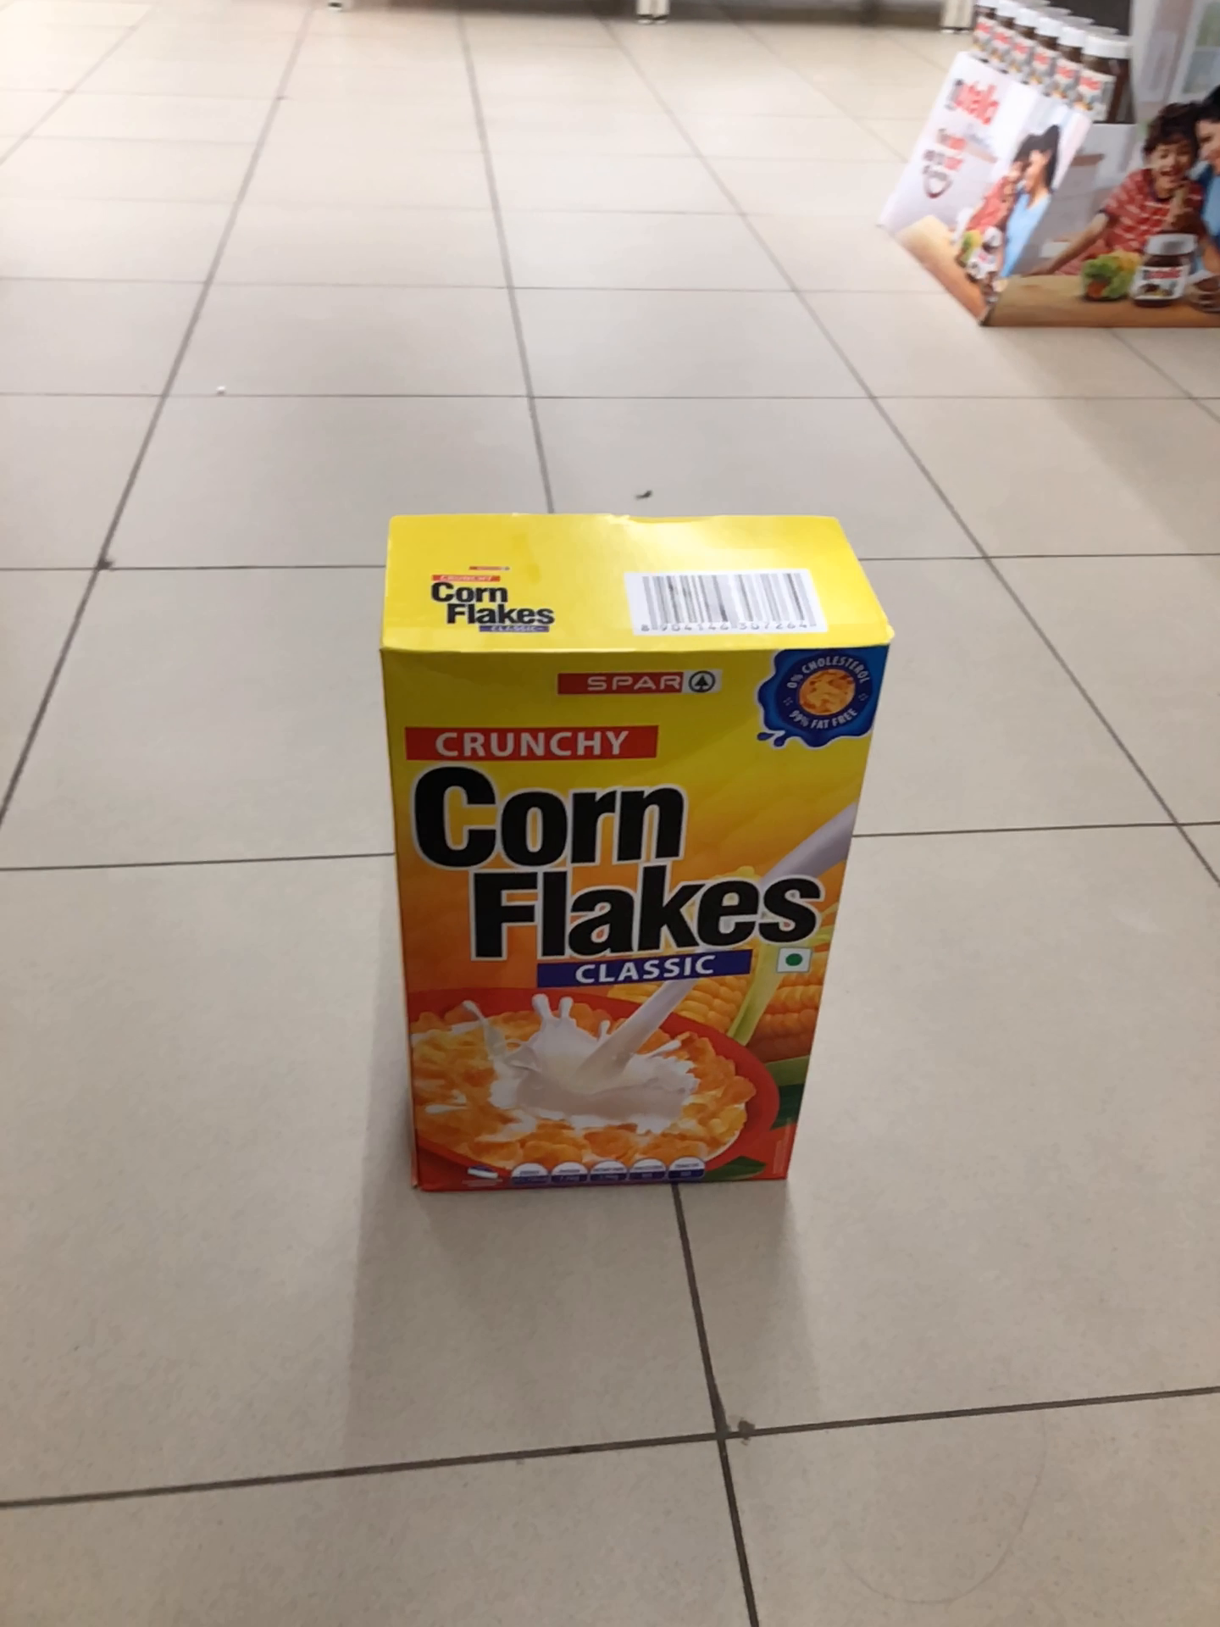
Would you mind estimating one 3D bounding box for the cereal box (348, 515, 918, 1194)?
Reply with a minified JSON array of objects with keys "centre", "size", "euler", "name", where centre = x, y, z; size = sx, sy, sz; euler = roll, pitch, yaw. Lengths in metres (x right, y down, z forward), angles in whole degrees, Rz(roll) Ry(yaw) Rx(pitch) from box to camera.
[{"centre":[0.000,0.028,0.597],"size":[0.200,0.298,0.101],"euler":[-2,37,-6],"name":"cereal box"}]
